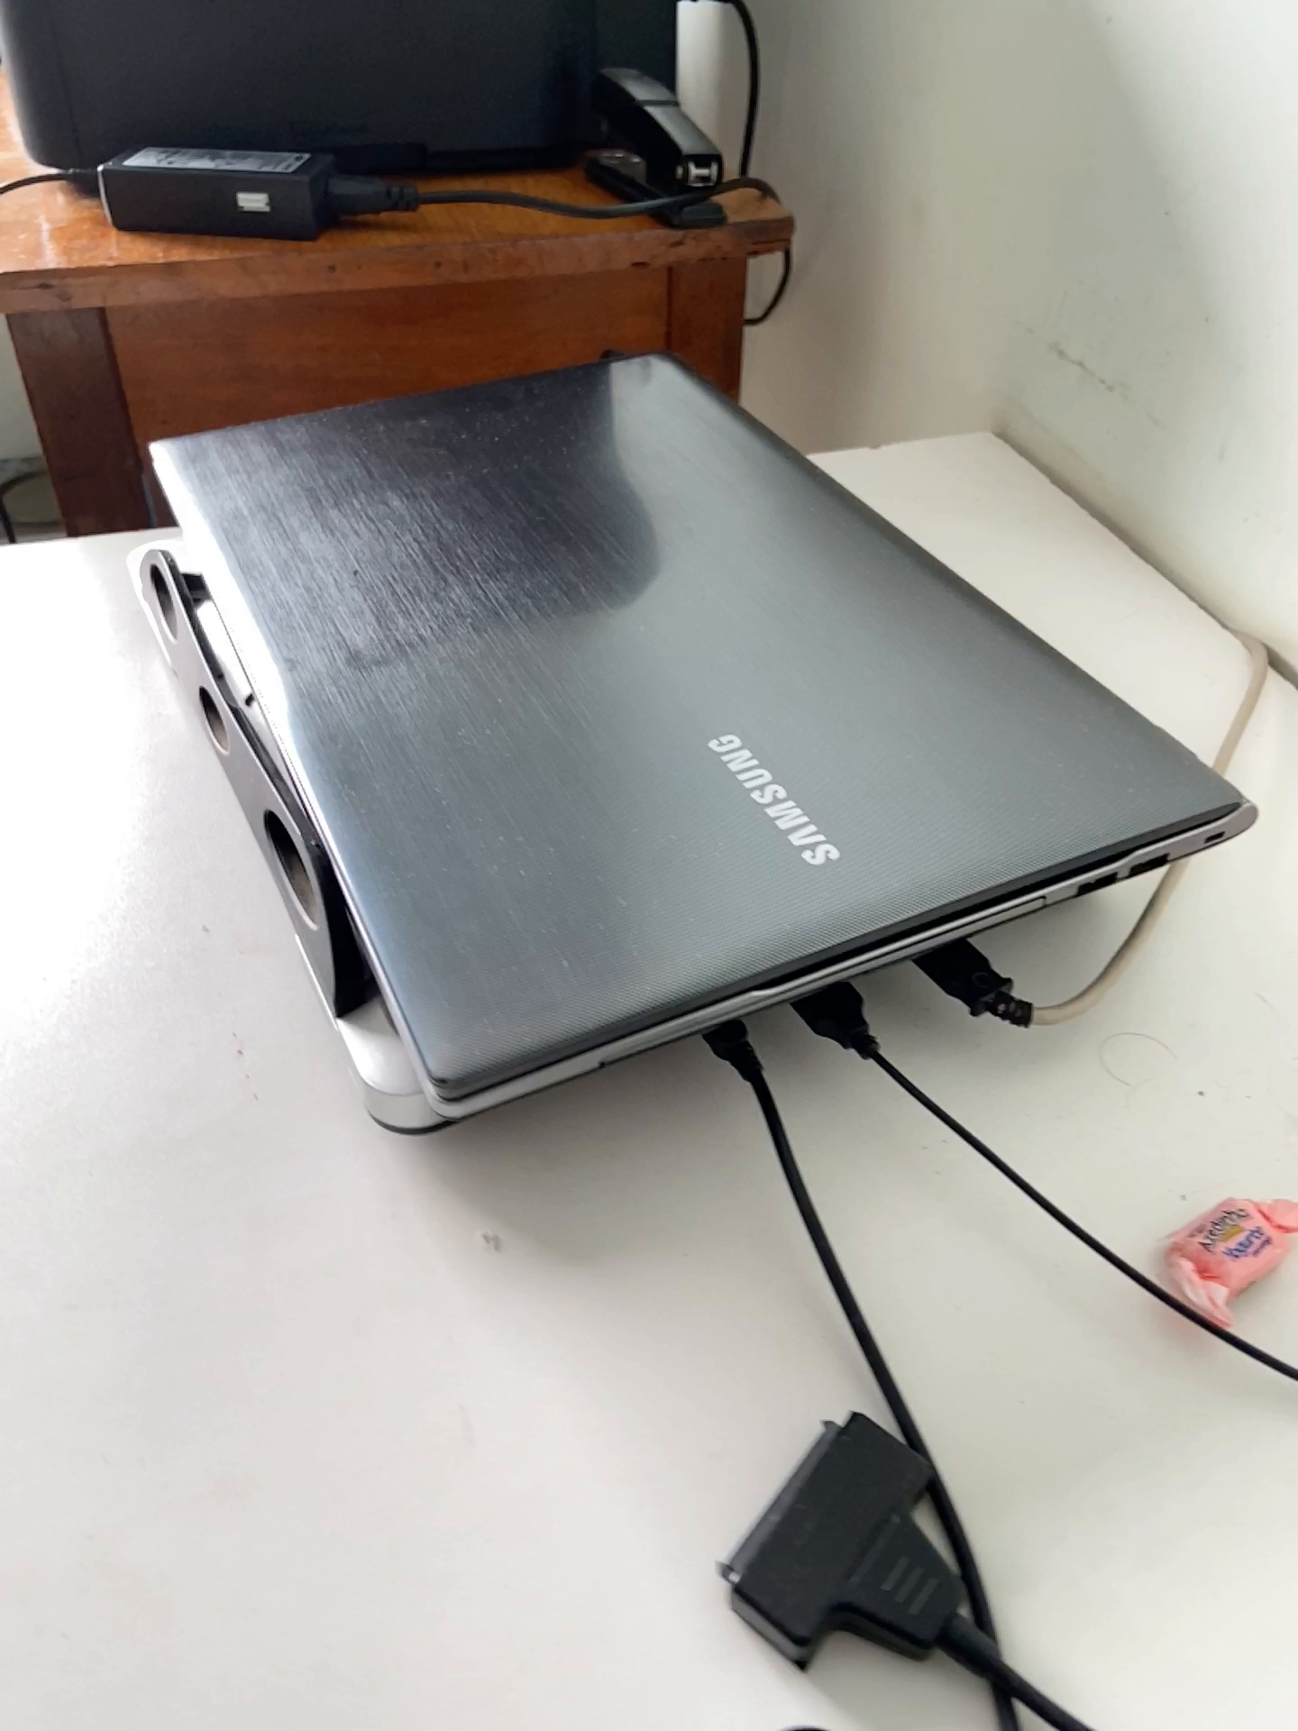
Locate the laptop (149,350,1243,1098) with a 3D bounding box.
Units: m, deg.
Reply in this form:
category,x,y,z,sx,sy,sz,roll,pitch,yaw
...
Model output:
category,x,y,z,sx,sy,sz,roll,pitch,yaw
laptop,-0.021,-0.095,0.467,0.236,0.005,0.375,-18,44,-18
